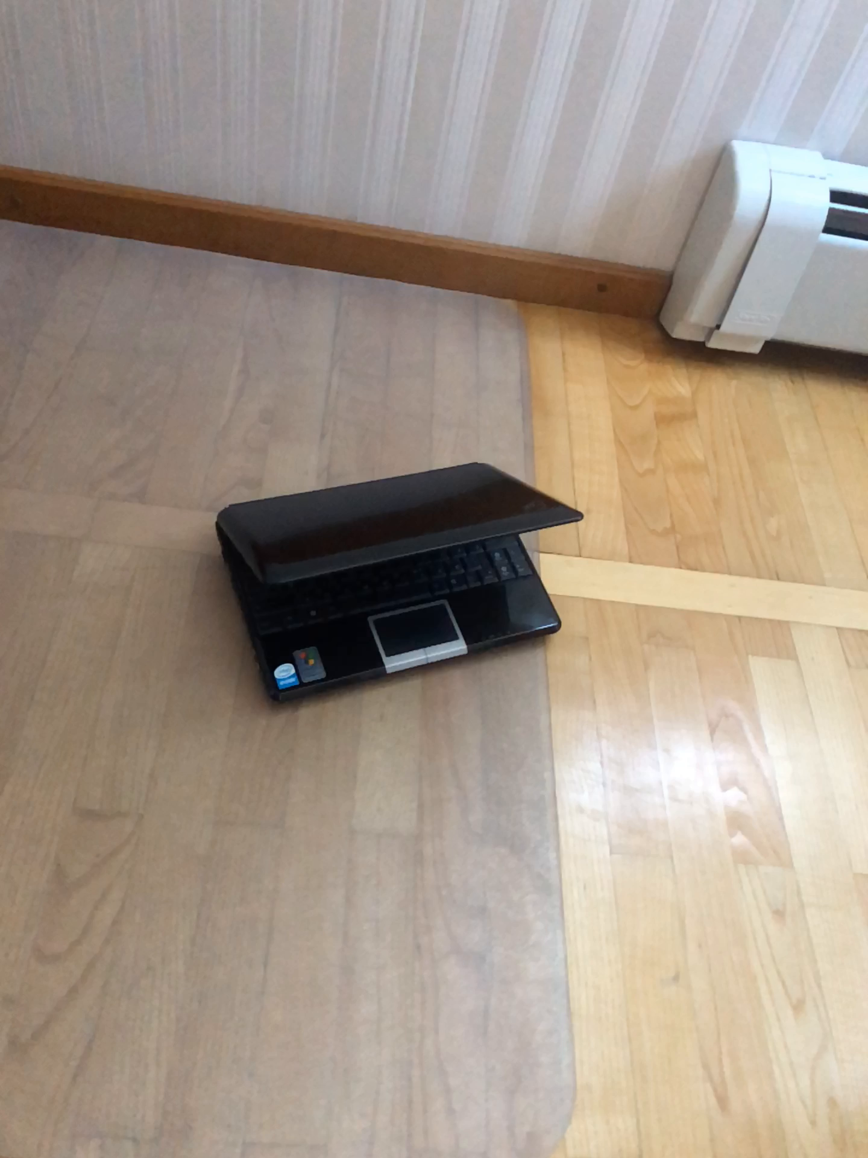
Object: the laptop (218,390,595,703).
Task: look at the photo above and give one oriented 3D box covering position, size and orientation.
[{"bbox_3d":[-0.029,-0.036,0.805,0.264,0.102,0.182,-12,60,-22],"label":"laptop"}]
